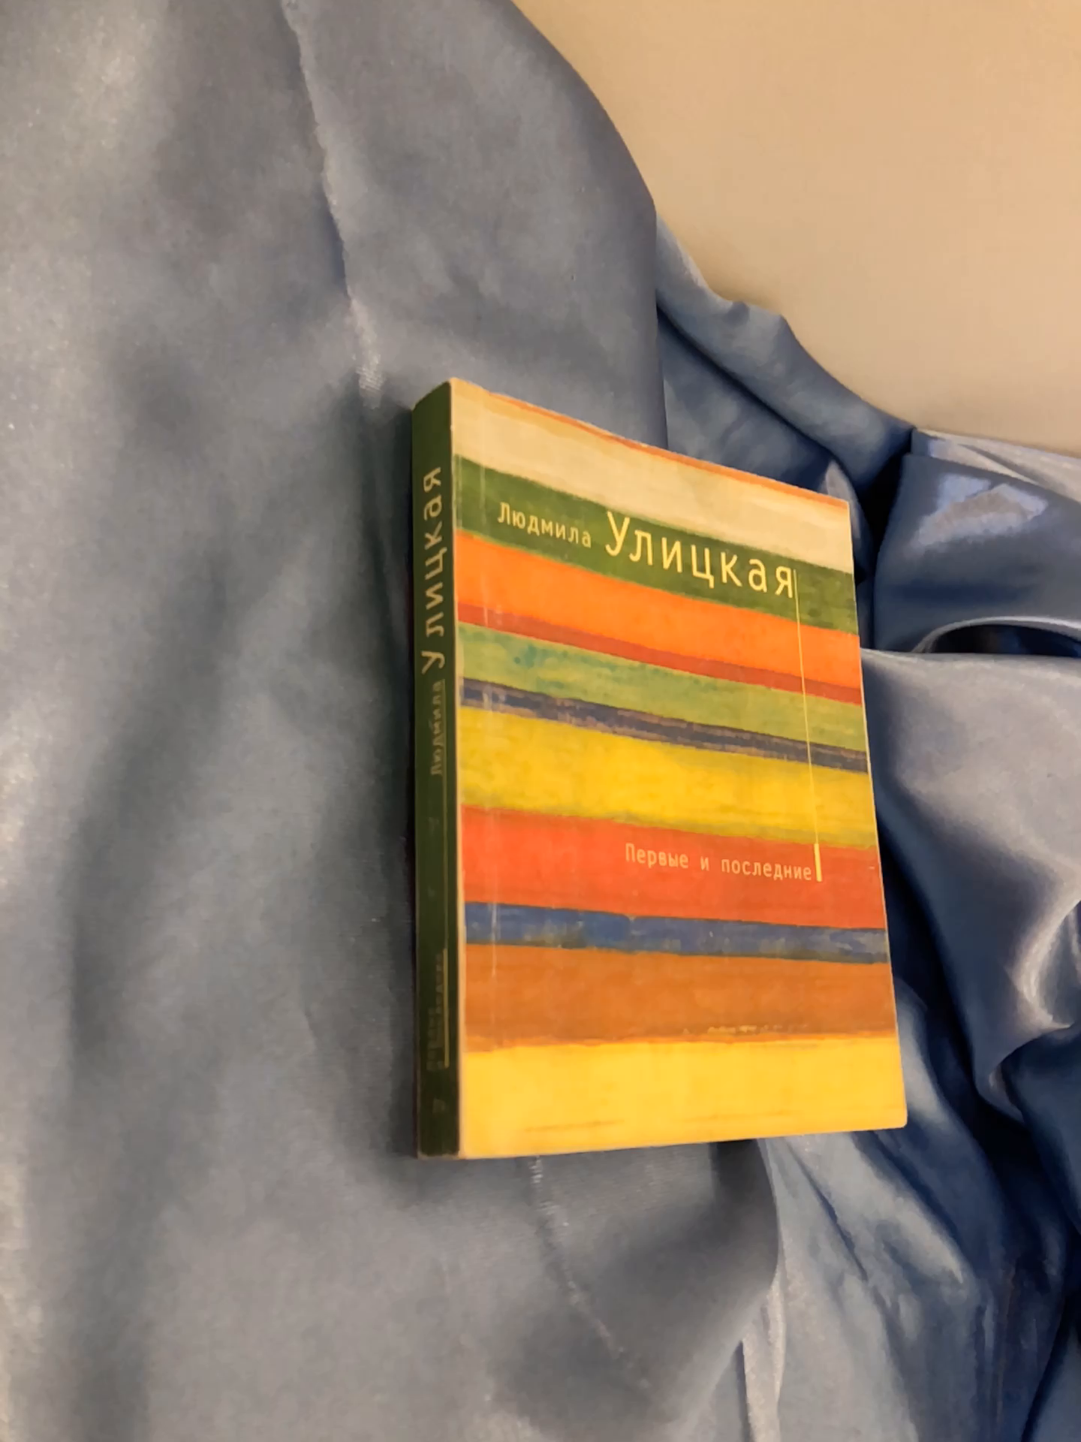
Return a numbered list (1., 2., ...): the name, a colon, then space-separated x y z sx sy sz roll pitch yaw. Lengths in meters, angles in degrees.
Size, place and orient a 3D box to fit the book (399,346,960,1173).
1. book: 0.033 0.011 0.275 0.130 0.026 0.167 9 70 -31
